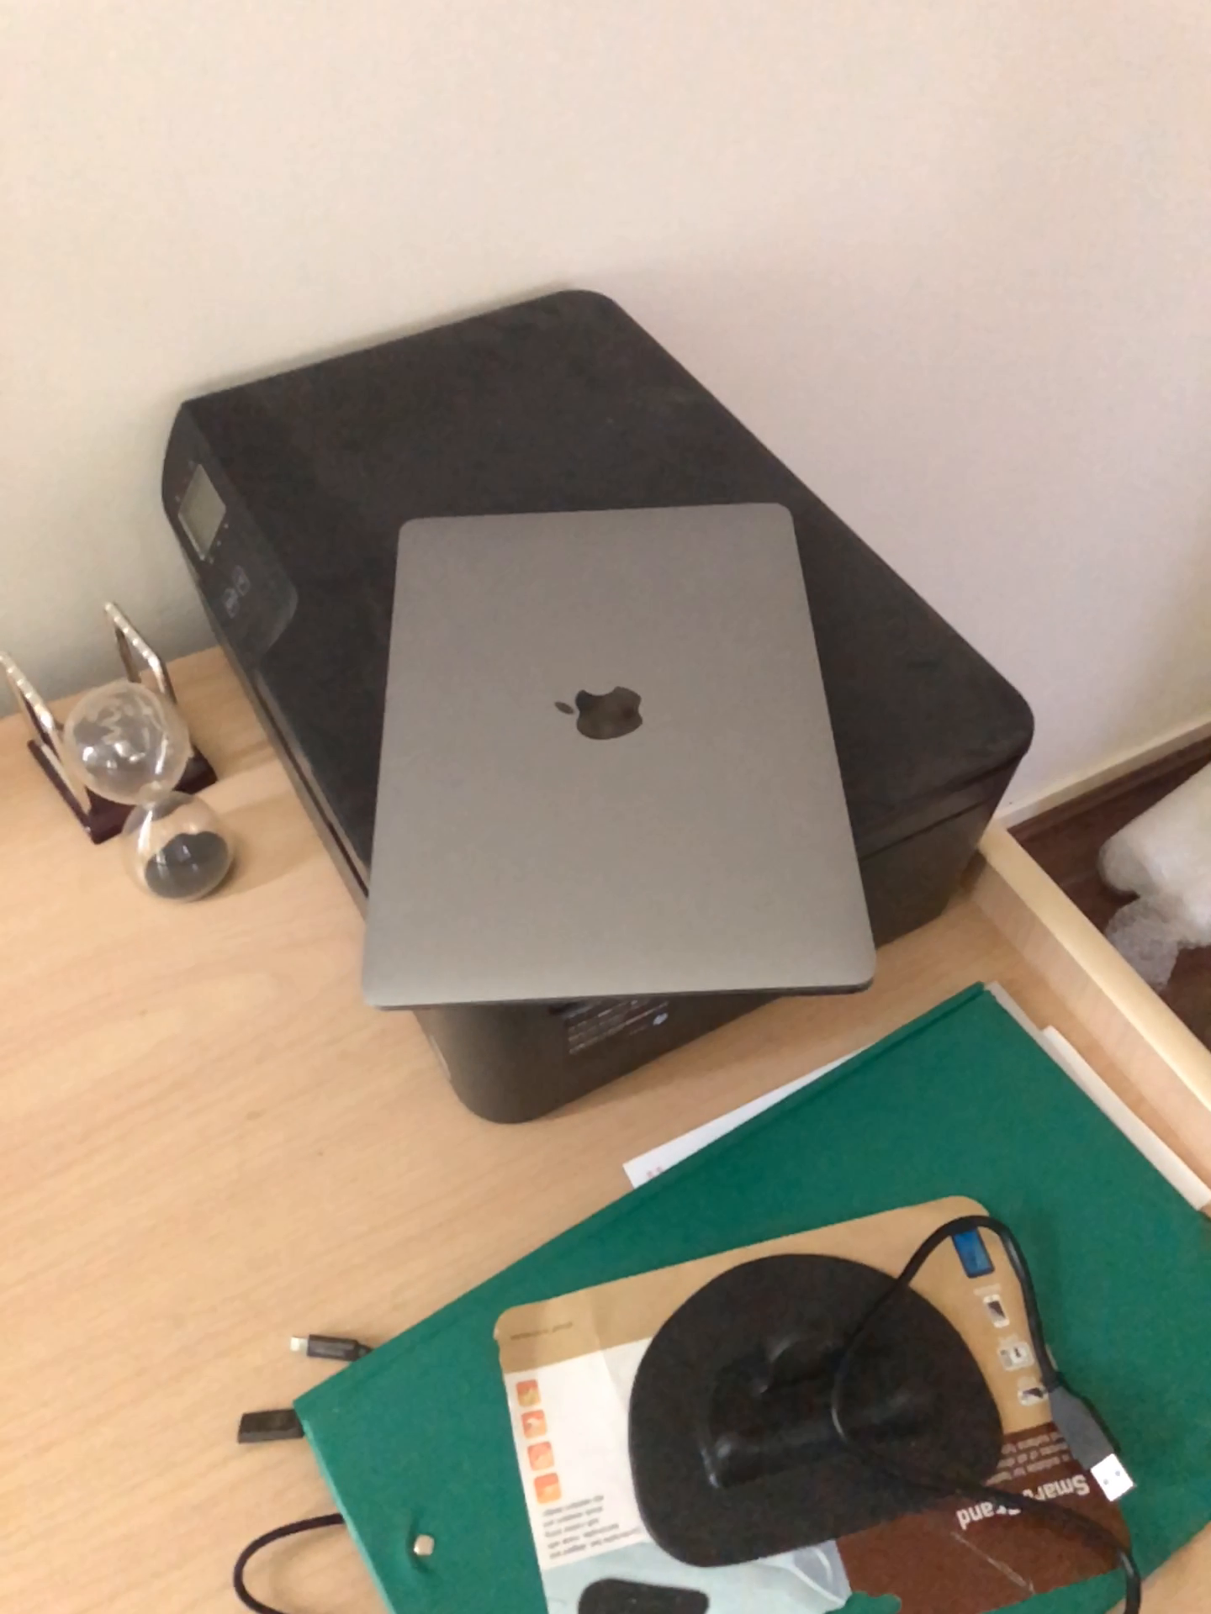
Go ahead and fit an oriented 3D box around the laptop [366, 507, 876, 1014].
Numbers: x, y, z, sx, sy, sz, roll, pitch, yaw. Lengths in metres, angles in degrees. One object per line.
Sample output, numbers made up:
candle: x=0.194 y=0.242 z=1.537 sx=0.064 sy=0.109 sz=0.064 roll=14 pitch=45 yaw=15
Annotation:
laptop: x=0.001 y=-0.035 z=0.574 sx=0.188 sy=0.007 sz=0.266 roll=-3 pitch=53 yaw=1
